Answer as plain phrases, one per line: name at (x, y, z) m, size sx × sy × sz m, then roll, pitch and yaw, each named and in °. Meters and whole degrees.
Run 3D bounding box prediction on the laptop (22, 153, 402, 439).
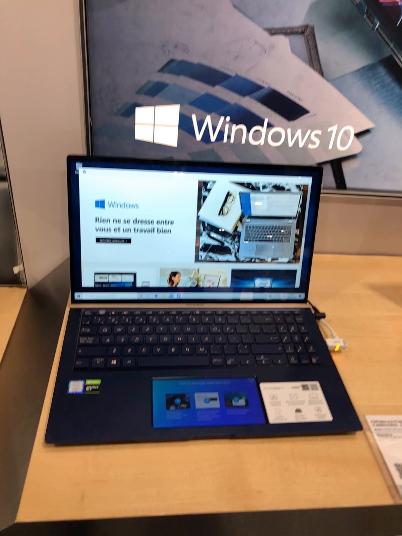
laptop at (0.005, 0.017, 0.524) m, size 0.337 × 0.183 × 0.274 m, roll 1°, pitch 37°, yaw -9°
